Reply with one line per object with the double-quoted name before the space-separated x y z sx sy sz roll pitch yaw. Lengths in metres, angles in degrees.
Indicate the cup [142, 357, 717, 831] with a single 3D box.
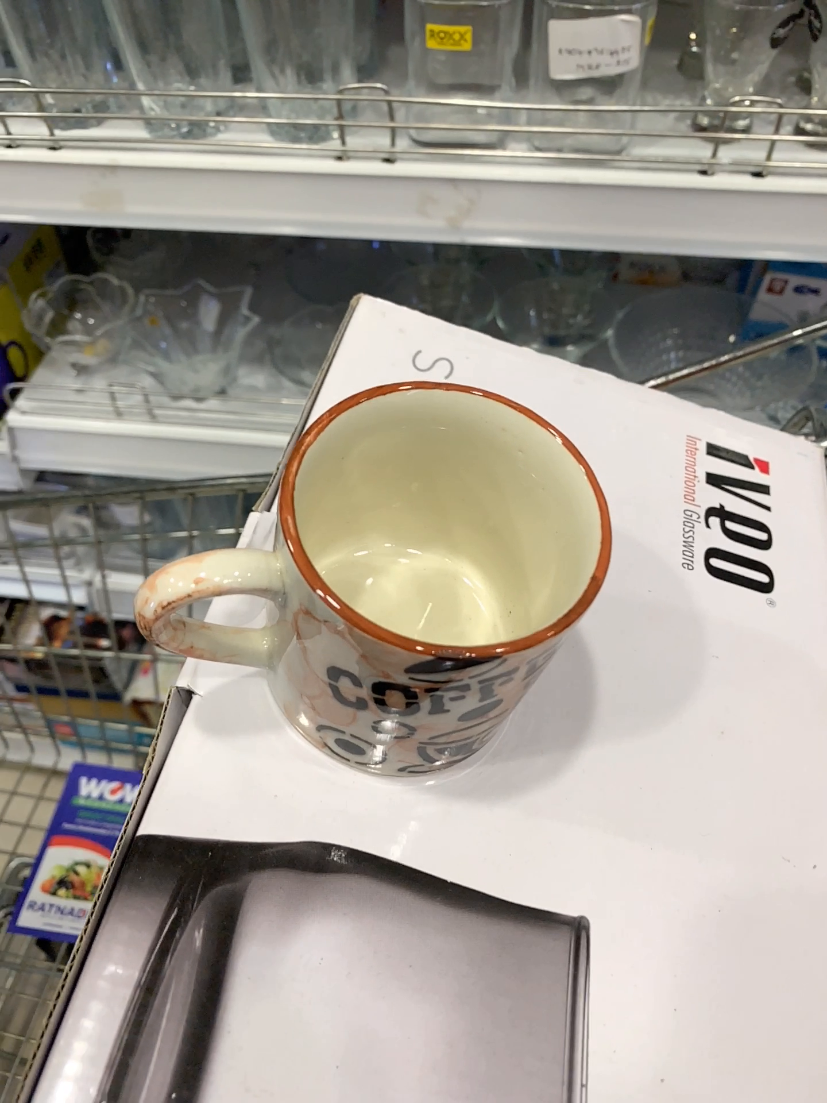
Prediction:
"cup" -0.005 0.007 0.194 0.100 0.070 0.070 -4 51 -17
